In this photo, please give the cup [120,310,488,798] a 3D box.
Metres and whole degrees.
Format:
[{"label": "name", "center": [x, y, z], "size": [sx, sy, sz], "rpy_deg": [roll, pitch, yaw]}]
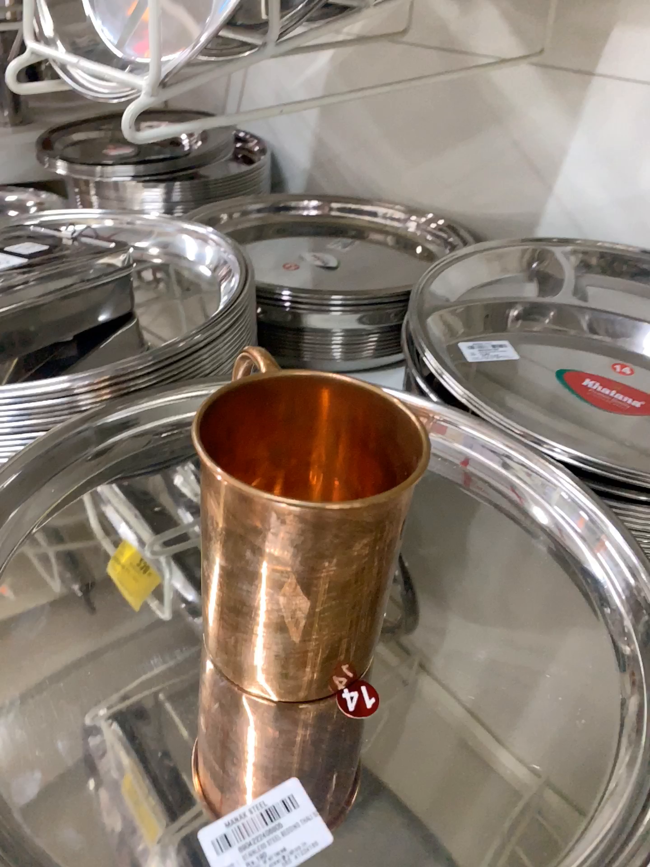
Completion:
[{"label": "cup", "center": [-0.018, 0.039, 0.269], "size": [0.080, 0.119, 0.130], "rpy_deg": [-15, 40, -23]}]
